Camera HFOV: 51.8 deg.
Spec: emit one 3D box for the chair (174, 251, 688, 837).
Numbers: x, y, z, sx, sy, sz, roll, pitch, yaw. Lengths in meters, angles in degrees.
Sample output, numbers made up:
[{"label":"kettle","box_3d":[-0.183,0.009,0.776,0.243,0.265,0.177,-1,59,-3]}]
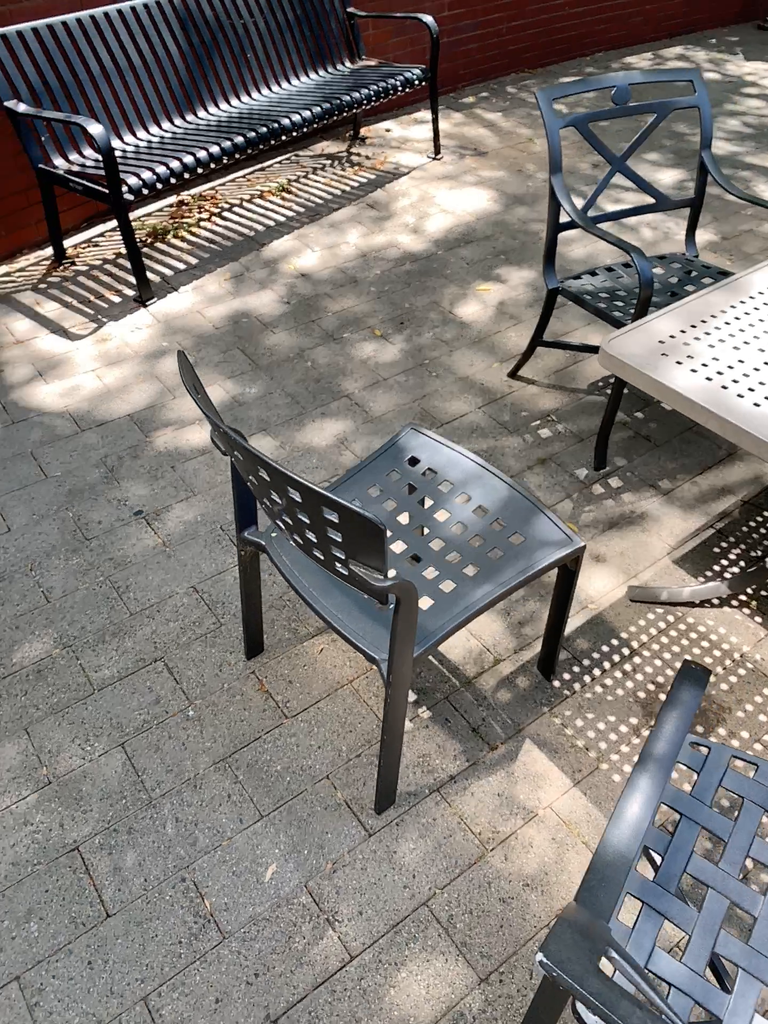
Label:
[{"label":"chair","box_3d":[0.062,0.047,1.377,0.550,0.716,0.492,-28,49,-27]}]
